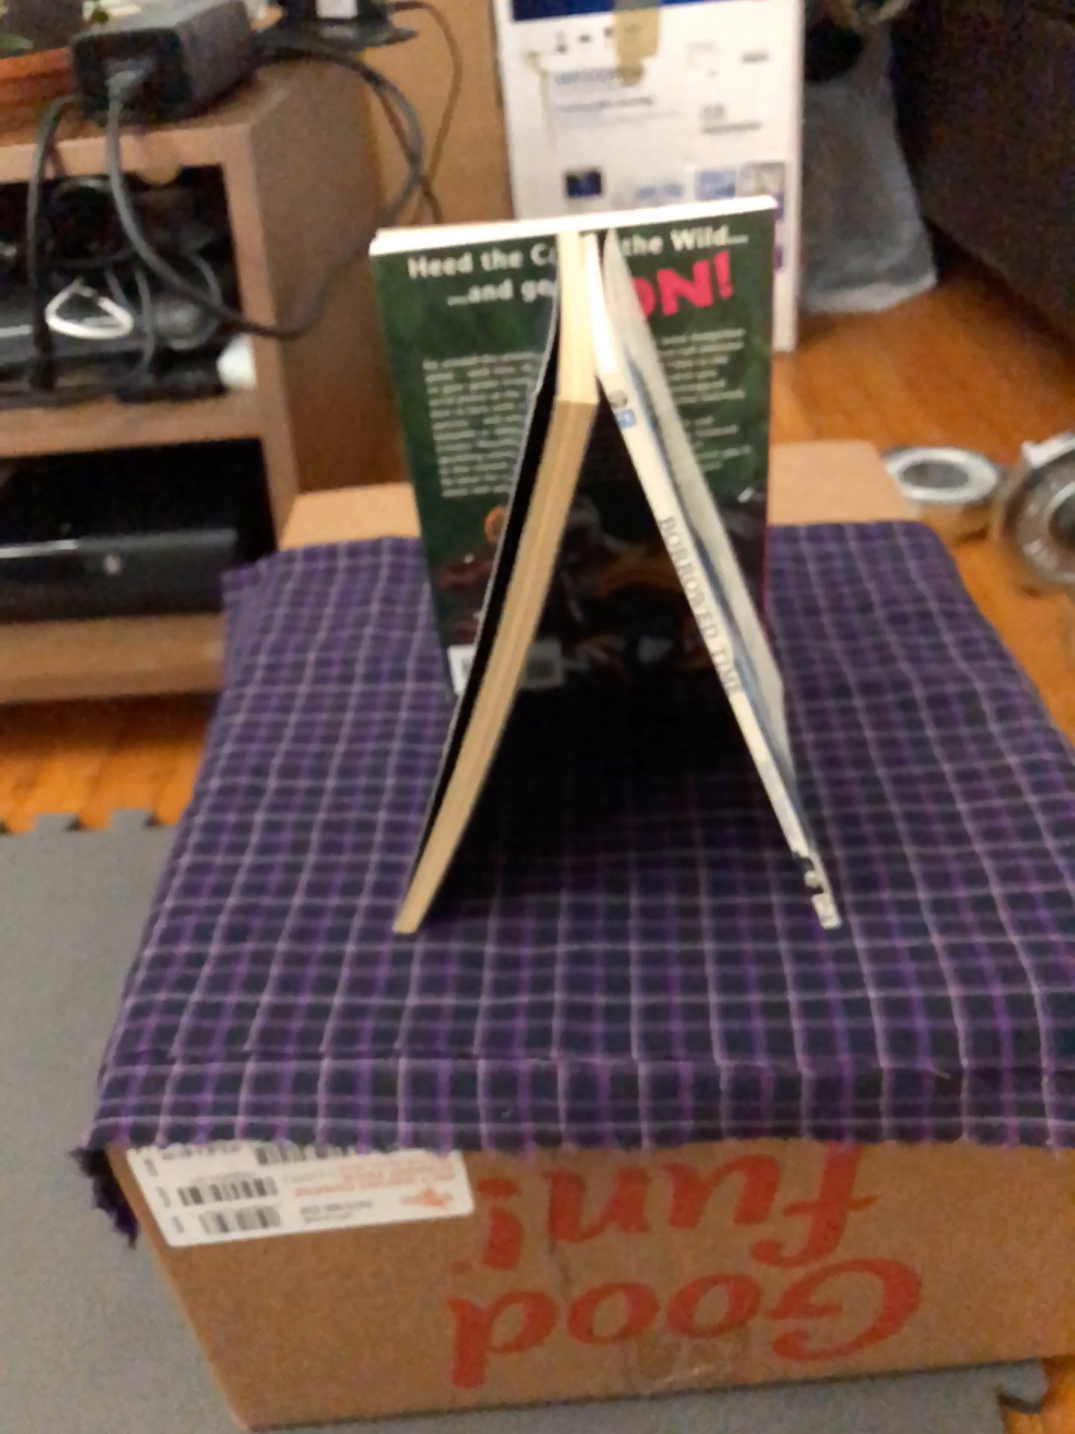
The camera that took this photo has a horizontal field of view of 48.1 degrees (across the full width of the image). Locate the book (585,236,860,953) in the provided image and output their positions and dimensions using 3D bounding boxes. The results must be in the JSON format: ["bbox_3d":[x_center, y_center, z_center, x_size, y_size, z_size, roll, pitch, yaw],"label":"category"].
[{"bbox_3d":[0.059,-0.042,0.391,0.010,0.199,0.141,-19,31,14],"label":"book"}]

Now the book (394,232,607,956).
[{"bbox_3d":[-0.012,-0.042,0.406,0.010,0.199,0.151,15,36,-7],"label":"book"}]

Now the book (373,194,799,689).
[{"bbox_3d":[0.023,-0.095,0.465,0.140,0.189,0.020,-4,41,2],"label":"book"}]
